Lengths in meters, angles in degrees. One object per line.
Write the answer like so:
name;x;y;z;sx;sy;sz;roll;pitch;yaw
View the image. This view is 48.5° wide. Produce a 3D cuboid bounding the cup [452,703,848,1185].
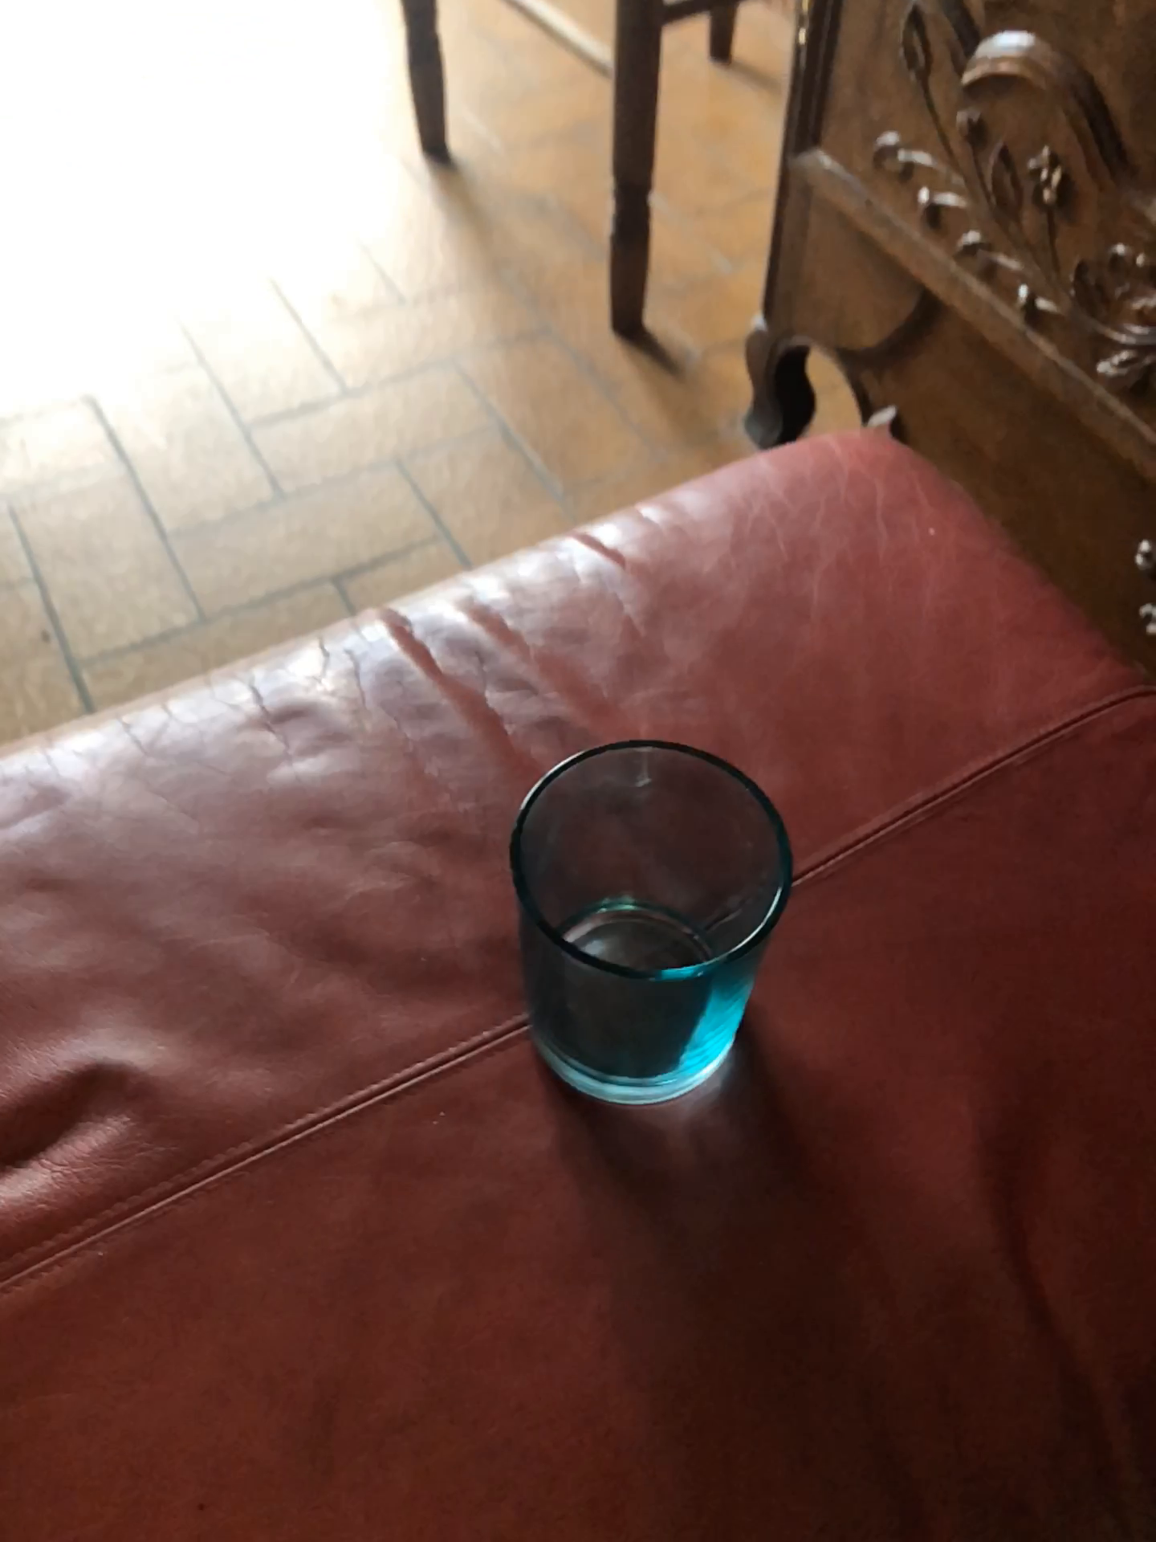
cup;0.018;0.047;0.340;0.070;0.089;0.070;0;54;0
